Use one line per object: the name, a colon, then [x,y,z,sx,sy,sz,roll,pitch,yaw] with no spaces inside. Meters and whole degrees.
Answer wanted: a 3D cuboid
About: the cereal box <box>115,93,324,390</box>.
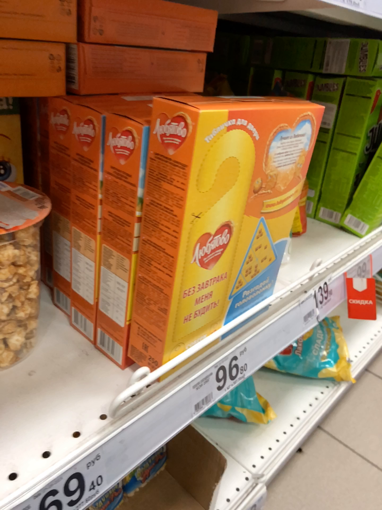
cereal box: [0.025,-0.021,0.384,0.050,0.229,0.181,29,33,33]
